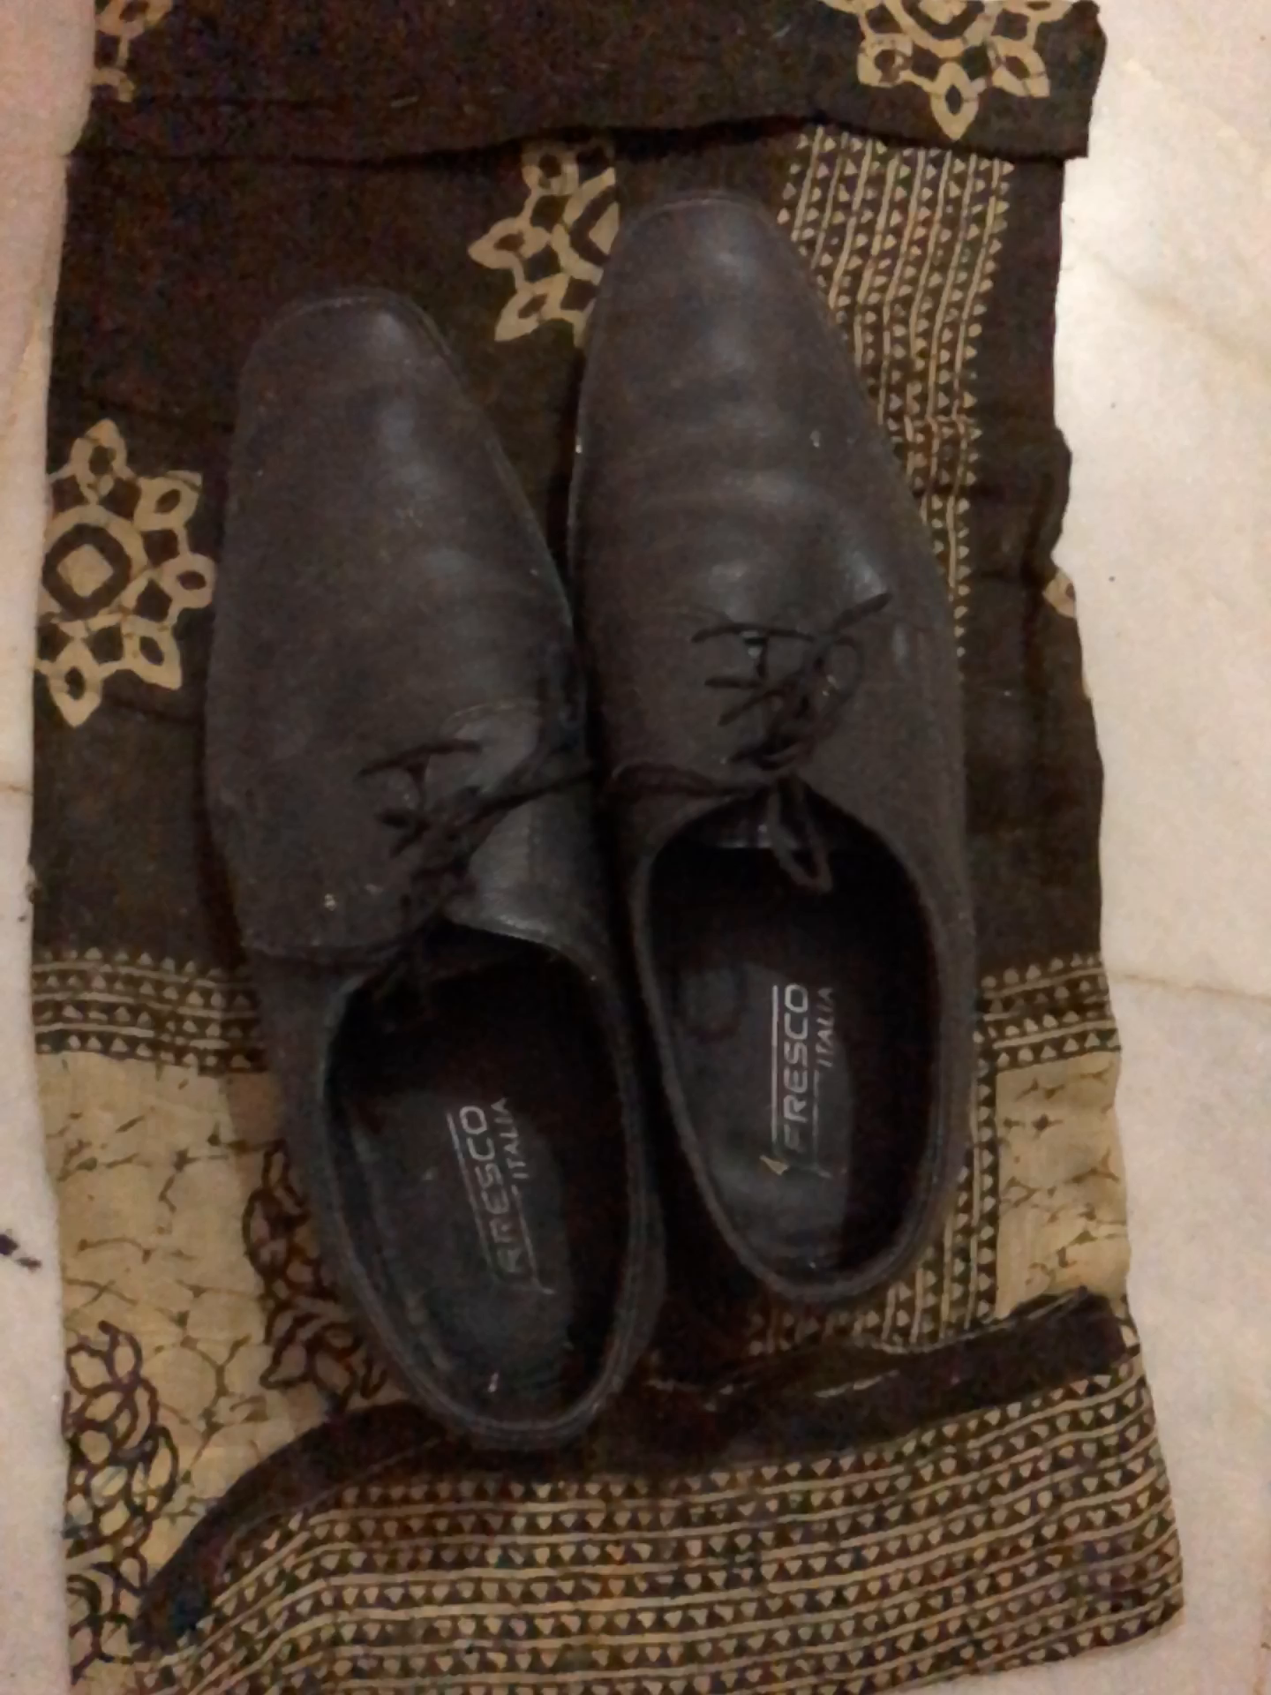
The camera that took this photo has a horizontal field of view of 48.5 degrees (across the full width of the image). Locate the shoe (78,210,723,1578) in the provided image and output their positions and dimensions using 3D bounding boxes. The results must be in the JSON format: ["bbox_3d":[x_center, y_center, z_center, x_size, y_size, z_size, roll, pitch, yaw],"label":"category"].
[{"bbox_3d":[-0.065,0.006,0.400,0.110,0.070,0.340,-10,85,-4],"label":"shoe"}]

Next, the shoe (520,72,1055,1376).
[{"bbox_3d":[0.036,-0.038,0.406,0.110,0.070,0.340,-5,85,-3],"label":"shoe"}]
